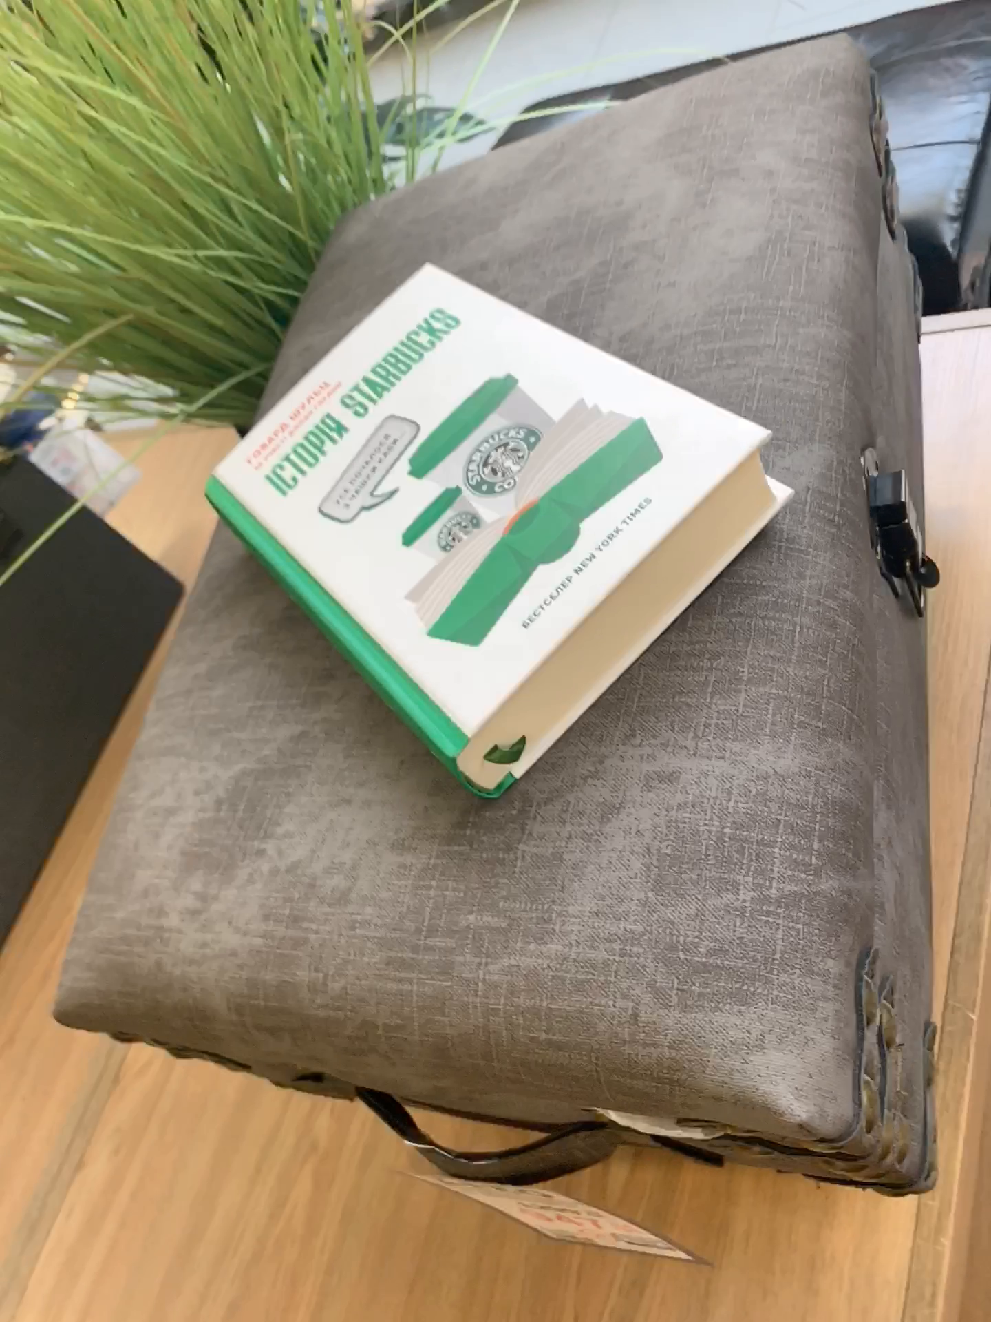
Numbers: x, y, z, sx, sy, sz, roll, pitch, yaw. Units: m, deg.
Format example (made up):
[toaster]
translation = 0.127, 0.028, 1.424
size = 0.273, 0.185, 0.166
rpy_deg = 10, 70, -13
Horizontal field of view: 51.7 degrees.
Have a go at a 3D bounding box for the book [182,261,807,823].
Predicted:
[book]
translation = -0.019, -0.068, 0.423
size = 0.160, 0.040, 0.236
rpy_deg = -46, 47, -3
